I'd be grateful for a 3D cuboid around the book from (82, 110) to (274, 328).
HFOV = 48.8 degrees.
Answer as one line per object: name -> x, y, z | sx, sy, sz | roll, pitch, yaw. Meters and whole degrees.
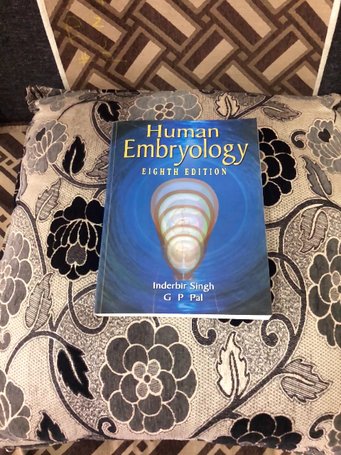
book -> 0.011, -0.022, 0.455 | 0.200, 0.030, 0.270 | 1, 68, 1
